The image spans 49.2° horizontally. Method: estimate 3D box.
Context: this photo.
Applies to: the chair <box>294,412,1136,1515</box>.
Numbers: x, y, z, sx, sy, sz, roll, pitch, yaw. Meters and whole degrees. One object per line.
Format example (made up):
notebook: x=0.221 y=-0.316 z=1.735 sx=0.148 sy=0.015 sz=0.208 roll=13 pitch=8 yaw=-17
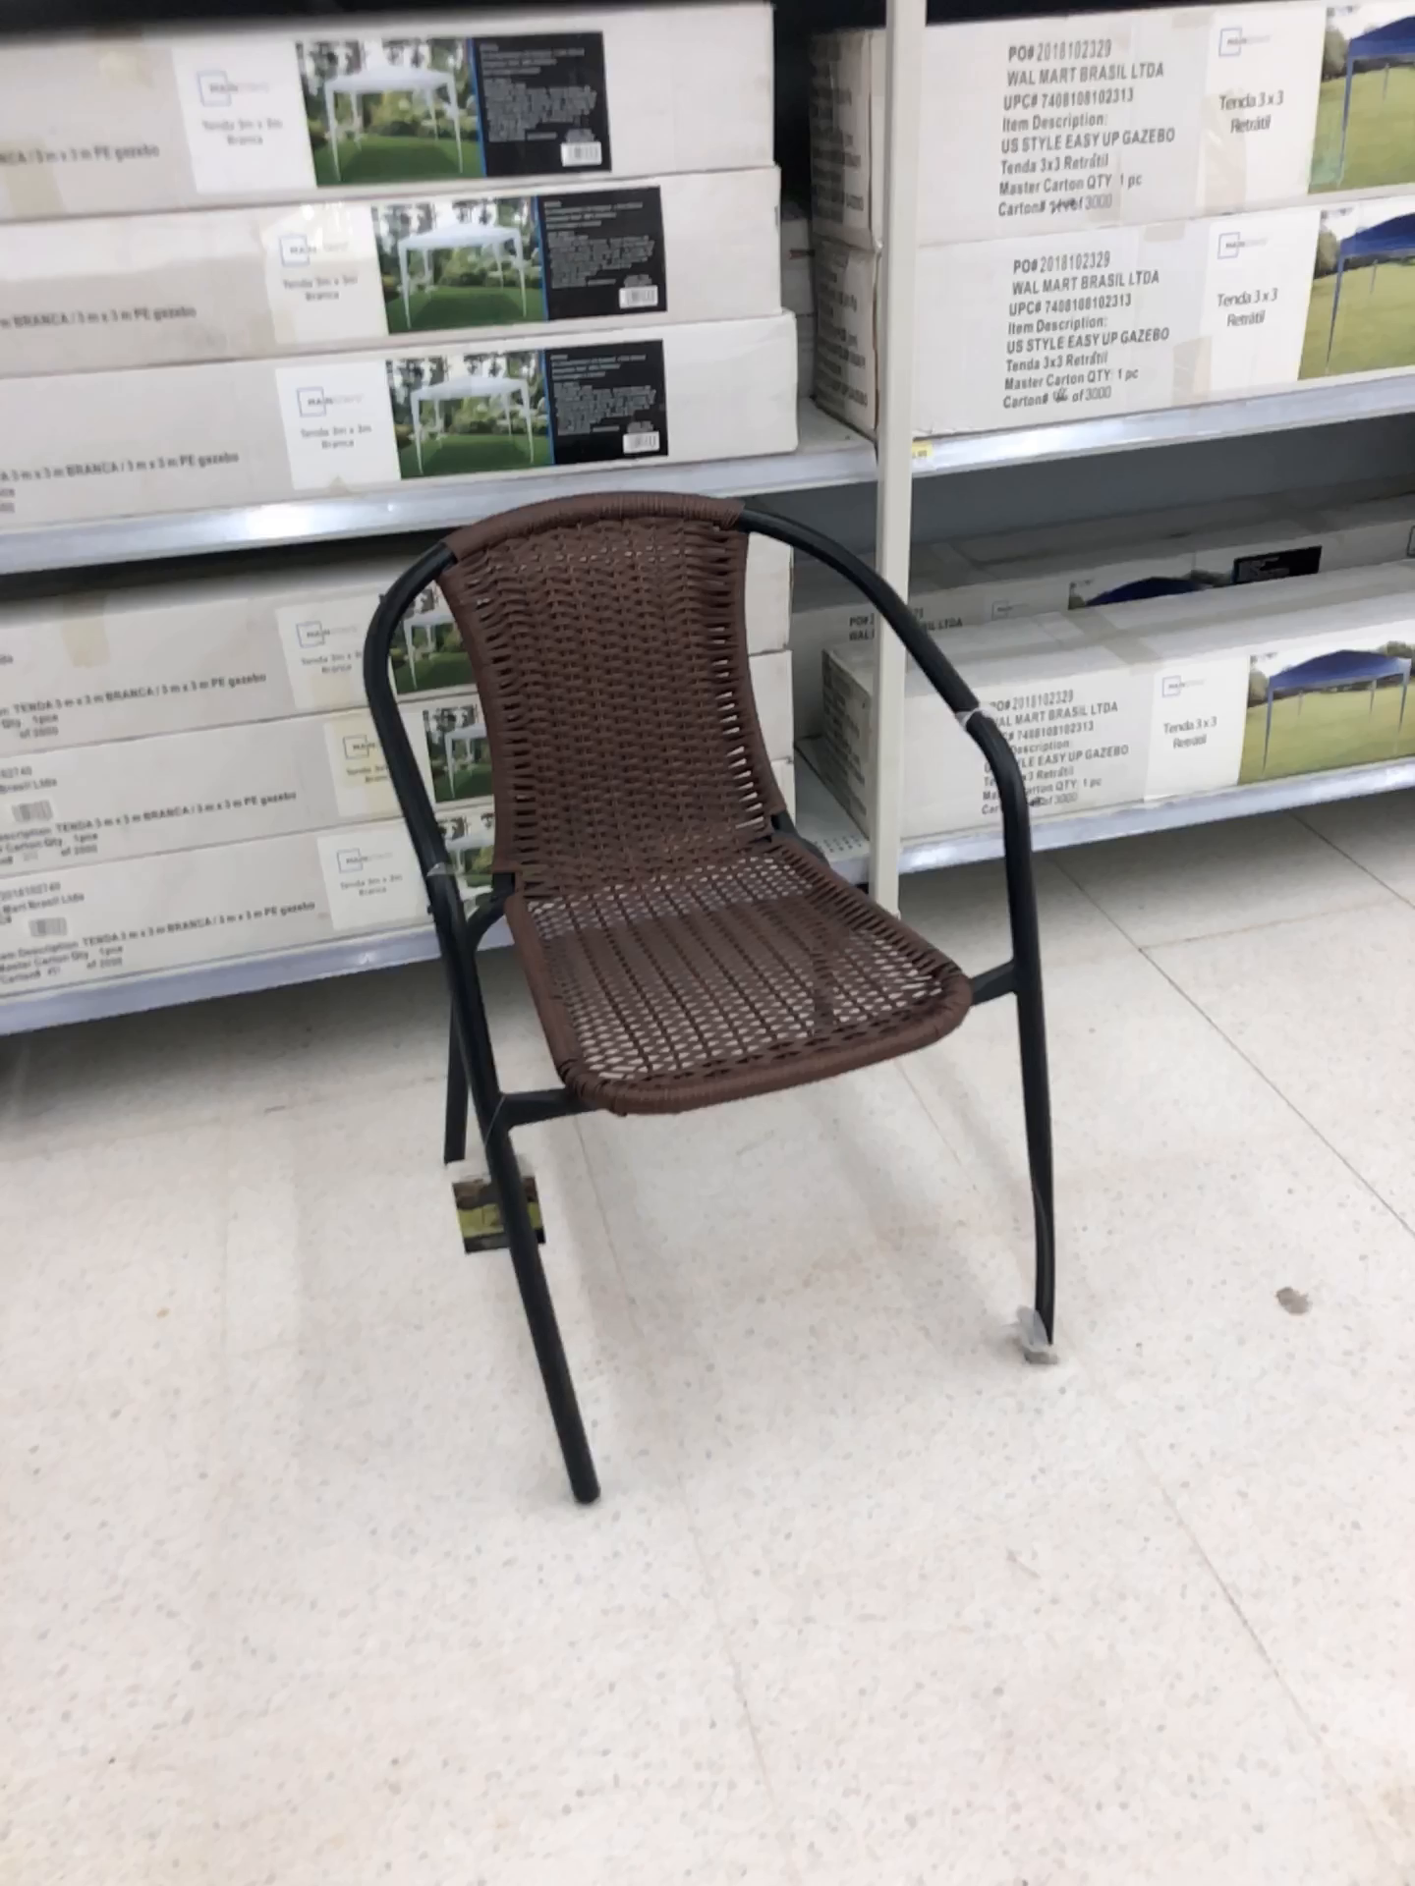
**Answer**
chair: x=-0.015 y=-0.020 z=1.369 sx=0.480 sy=0.715 sz=0.534 roll=-14 pitch=32 yaw=-18
